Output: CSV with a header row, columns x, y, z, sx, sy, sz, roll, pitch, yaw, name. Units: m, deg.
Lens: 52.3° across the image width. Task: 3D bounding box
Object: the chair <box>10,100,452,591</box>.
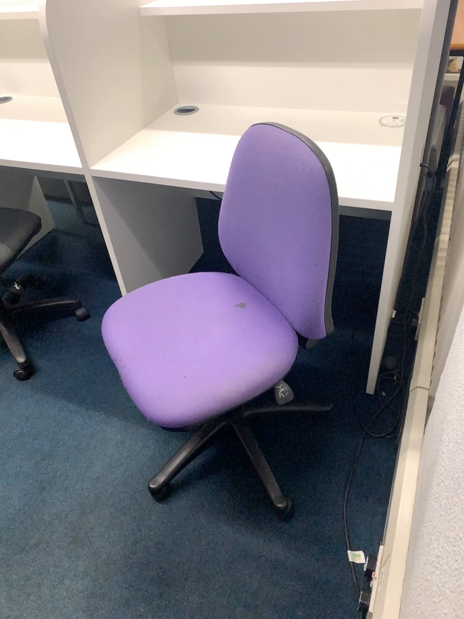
x,y,z,sx,sy,sz,roll,pitch,yaw,name
-0.032,0.058,1.232,0.651,0.861,0.696,-22,42,-18,chair
